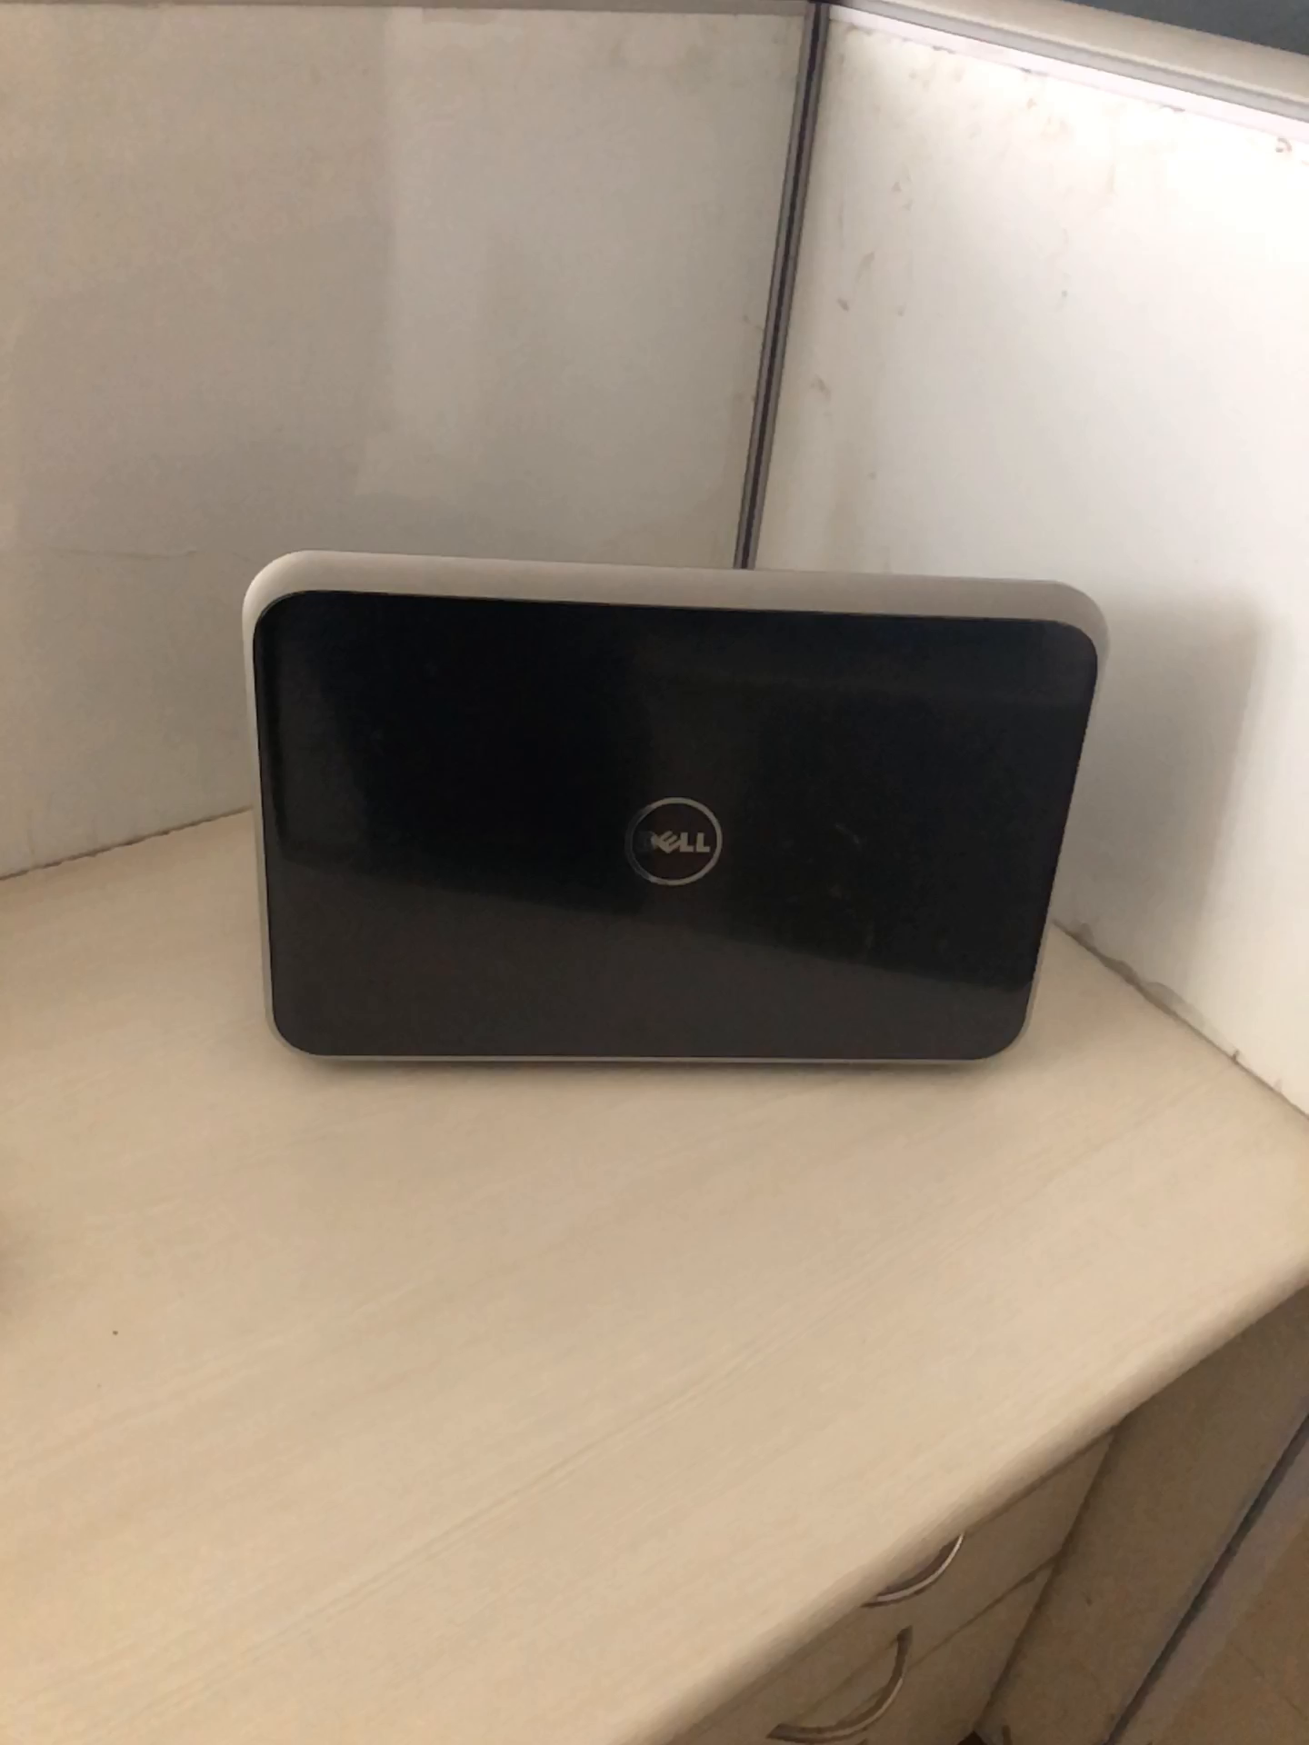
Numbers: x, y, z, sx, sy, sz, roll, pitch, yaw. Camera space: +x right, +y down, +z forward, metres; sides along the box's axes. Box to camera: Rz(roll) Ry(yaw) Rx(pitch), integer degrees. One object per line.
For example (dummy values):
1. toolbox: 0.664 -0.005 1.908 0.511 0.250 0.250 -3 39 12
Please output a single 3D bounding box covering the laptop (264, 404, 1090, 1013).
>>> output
1. laptop: -0.004 -0.085 0.735 0.333 0.217 0.240 1 34 -9
